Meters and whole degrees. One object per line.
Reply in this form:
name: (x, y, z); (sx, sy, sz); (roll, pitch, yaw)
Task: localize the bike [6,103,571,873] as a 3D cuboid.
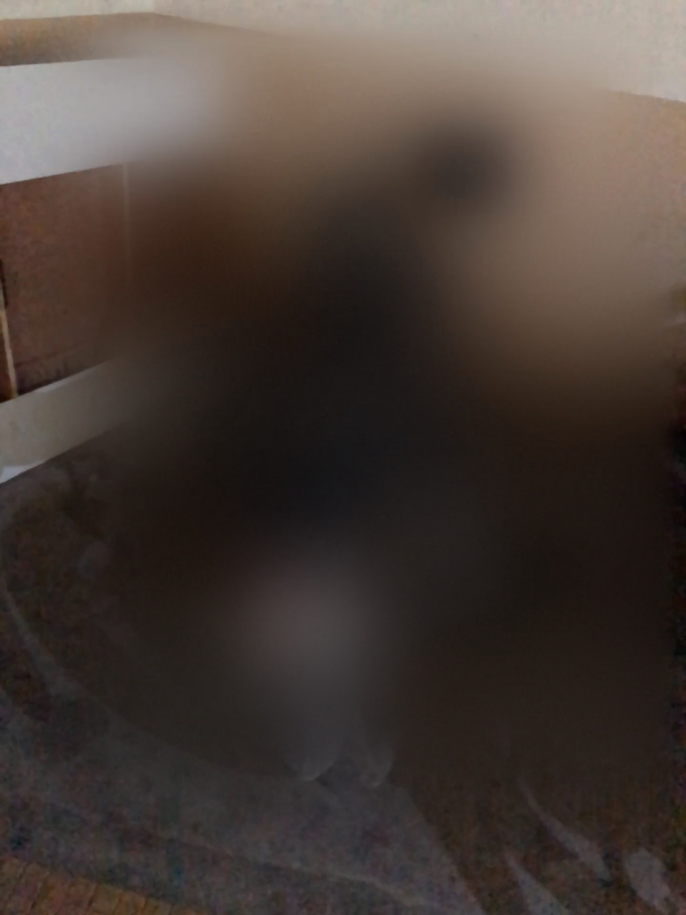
bike: (-0.026, -0.128, 1.992); (0.717, 1.179, 1.712); (10, 34, 3)
